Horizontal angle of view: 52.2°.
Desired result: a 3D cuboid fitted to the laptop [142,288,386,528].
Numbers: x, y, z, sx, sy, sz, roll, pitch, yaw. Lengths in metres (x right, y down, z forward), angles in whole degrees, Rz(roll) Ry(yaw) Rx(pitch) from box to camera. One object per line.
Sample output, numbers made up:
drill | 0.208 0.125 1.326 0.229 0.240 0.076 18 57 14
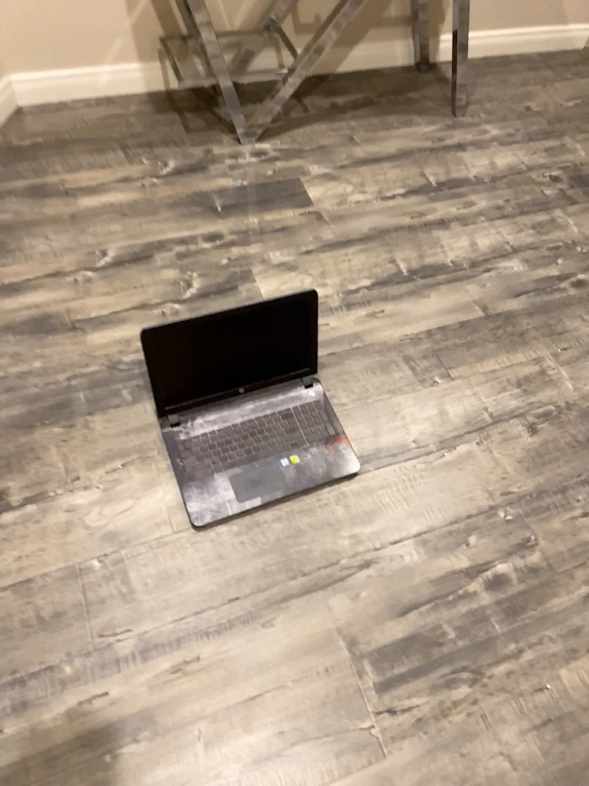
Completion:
laptop | -0.074 0.022 1.222 0.371 0.225 0.328 -16 60 -17
